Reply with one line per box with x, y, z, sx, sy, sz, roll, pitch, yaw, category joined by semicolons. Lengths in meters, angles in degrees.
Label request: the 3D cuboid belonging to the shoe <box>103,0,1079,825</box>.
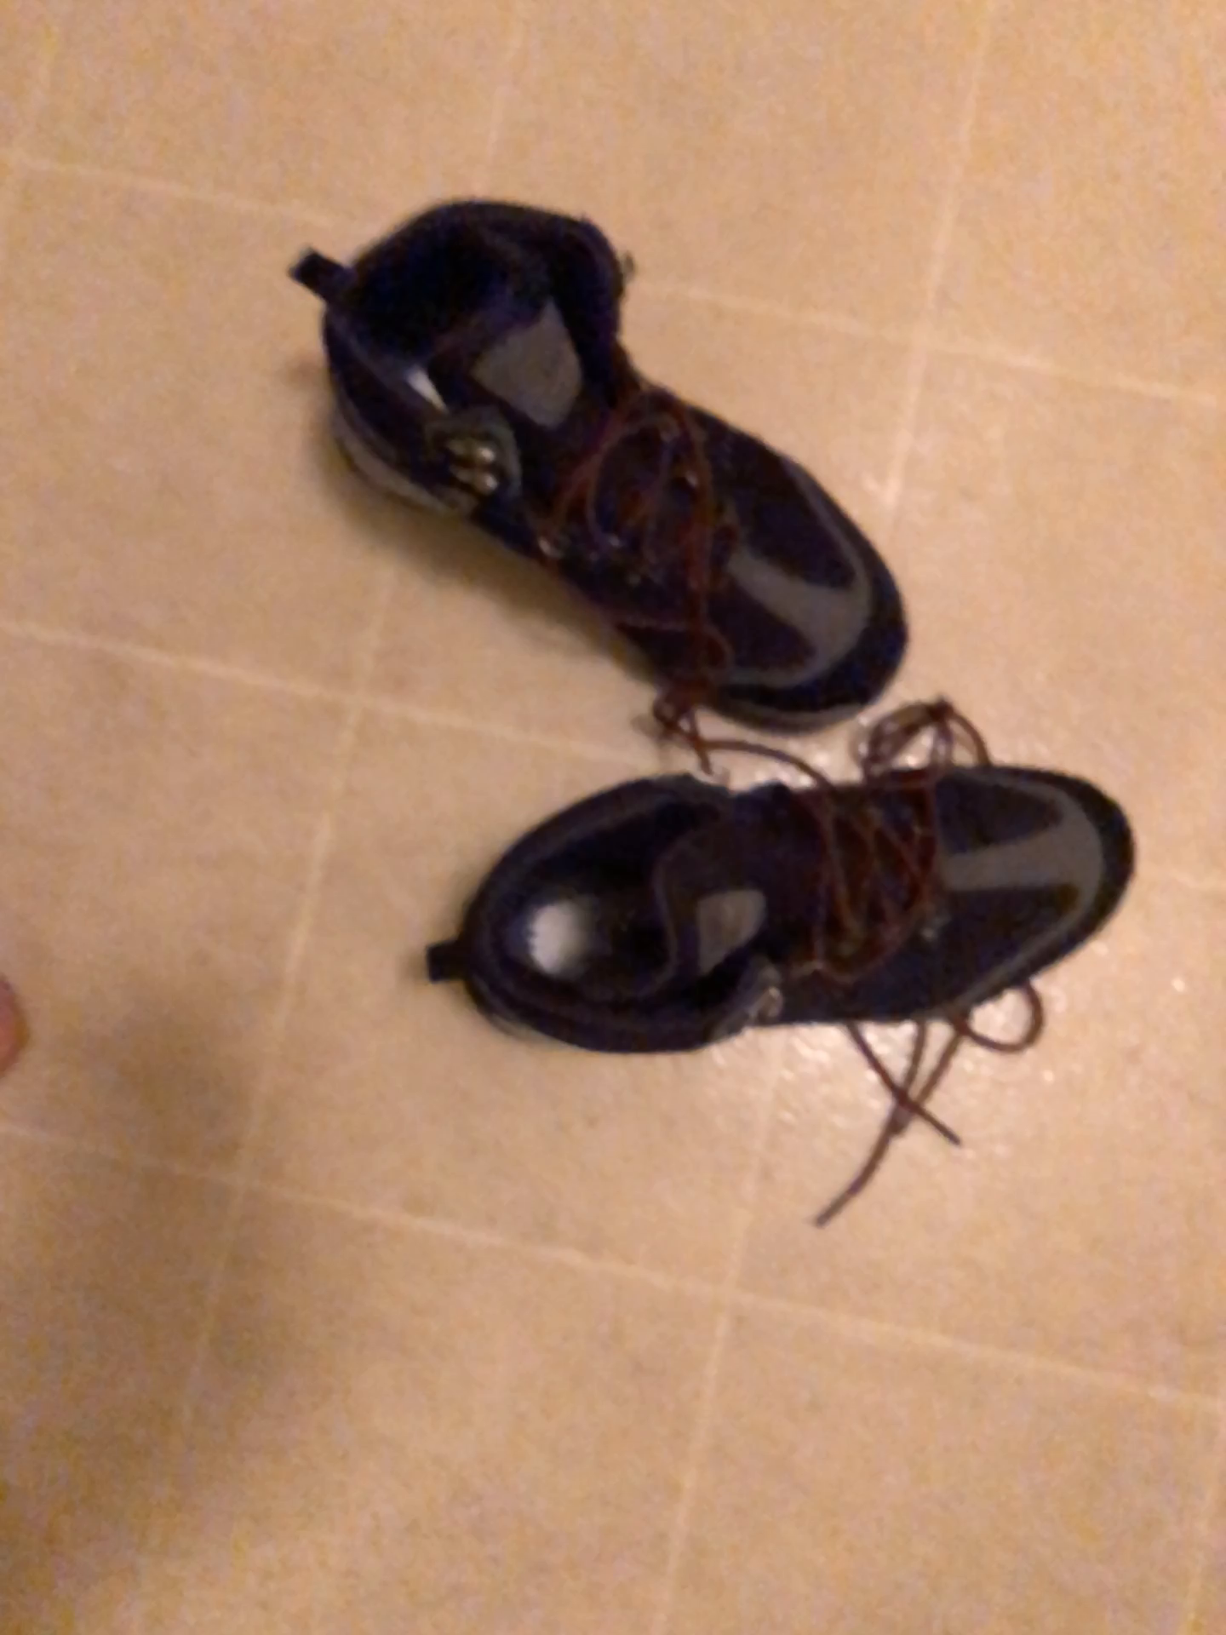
-0.007;-0.145;0.555;0.309;0.196;0.126;34;86;4;shoe

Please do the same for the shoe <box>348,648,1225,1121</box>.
0.072;0.030;0.535;0.299;0.196;0.116;-7;84;1;shoe
